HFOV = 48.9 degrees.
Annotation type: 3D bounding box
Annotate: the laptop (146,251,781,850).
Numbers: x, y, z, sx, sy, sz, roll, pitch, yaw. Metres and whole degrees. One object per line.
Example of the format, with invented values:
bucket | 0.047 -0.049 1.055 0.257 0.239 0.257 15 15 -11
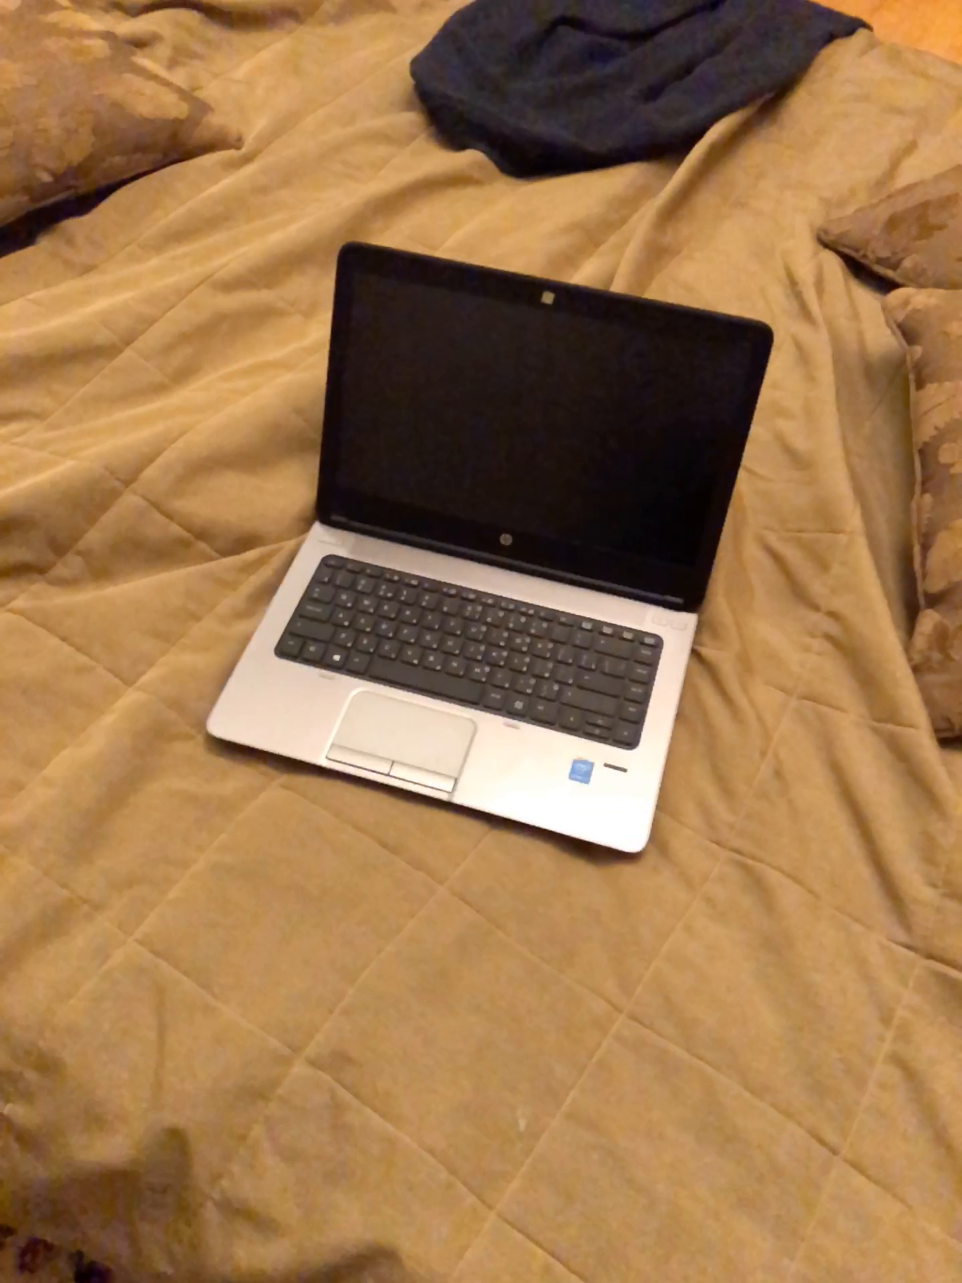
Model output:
laptop | 0.007 -0.079 0.777 0.332 0.189 0.340 14 56 9
